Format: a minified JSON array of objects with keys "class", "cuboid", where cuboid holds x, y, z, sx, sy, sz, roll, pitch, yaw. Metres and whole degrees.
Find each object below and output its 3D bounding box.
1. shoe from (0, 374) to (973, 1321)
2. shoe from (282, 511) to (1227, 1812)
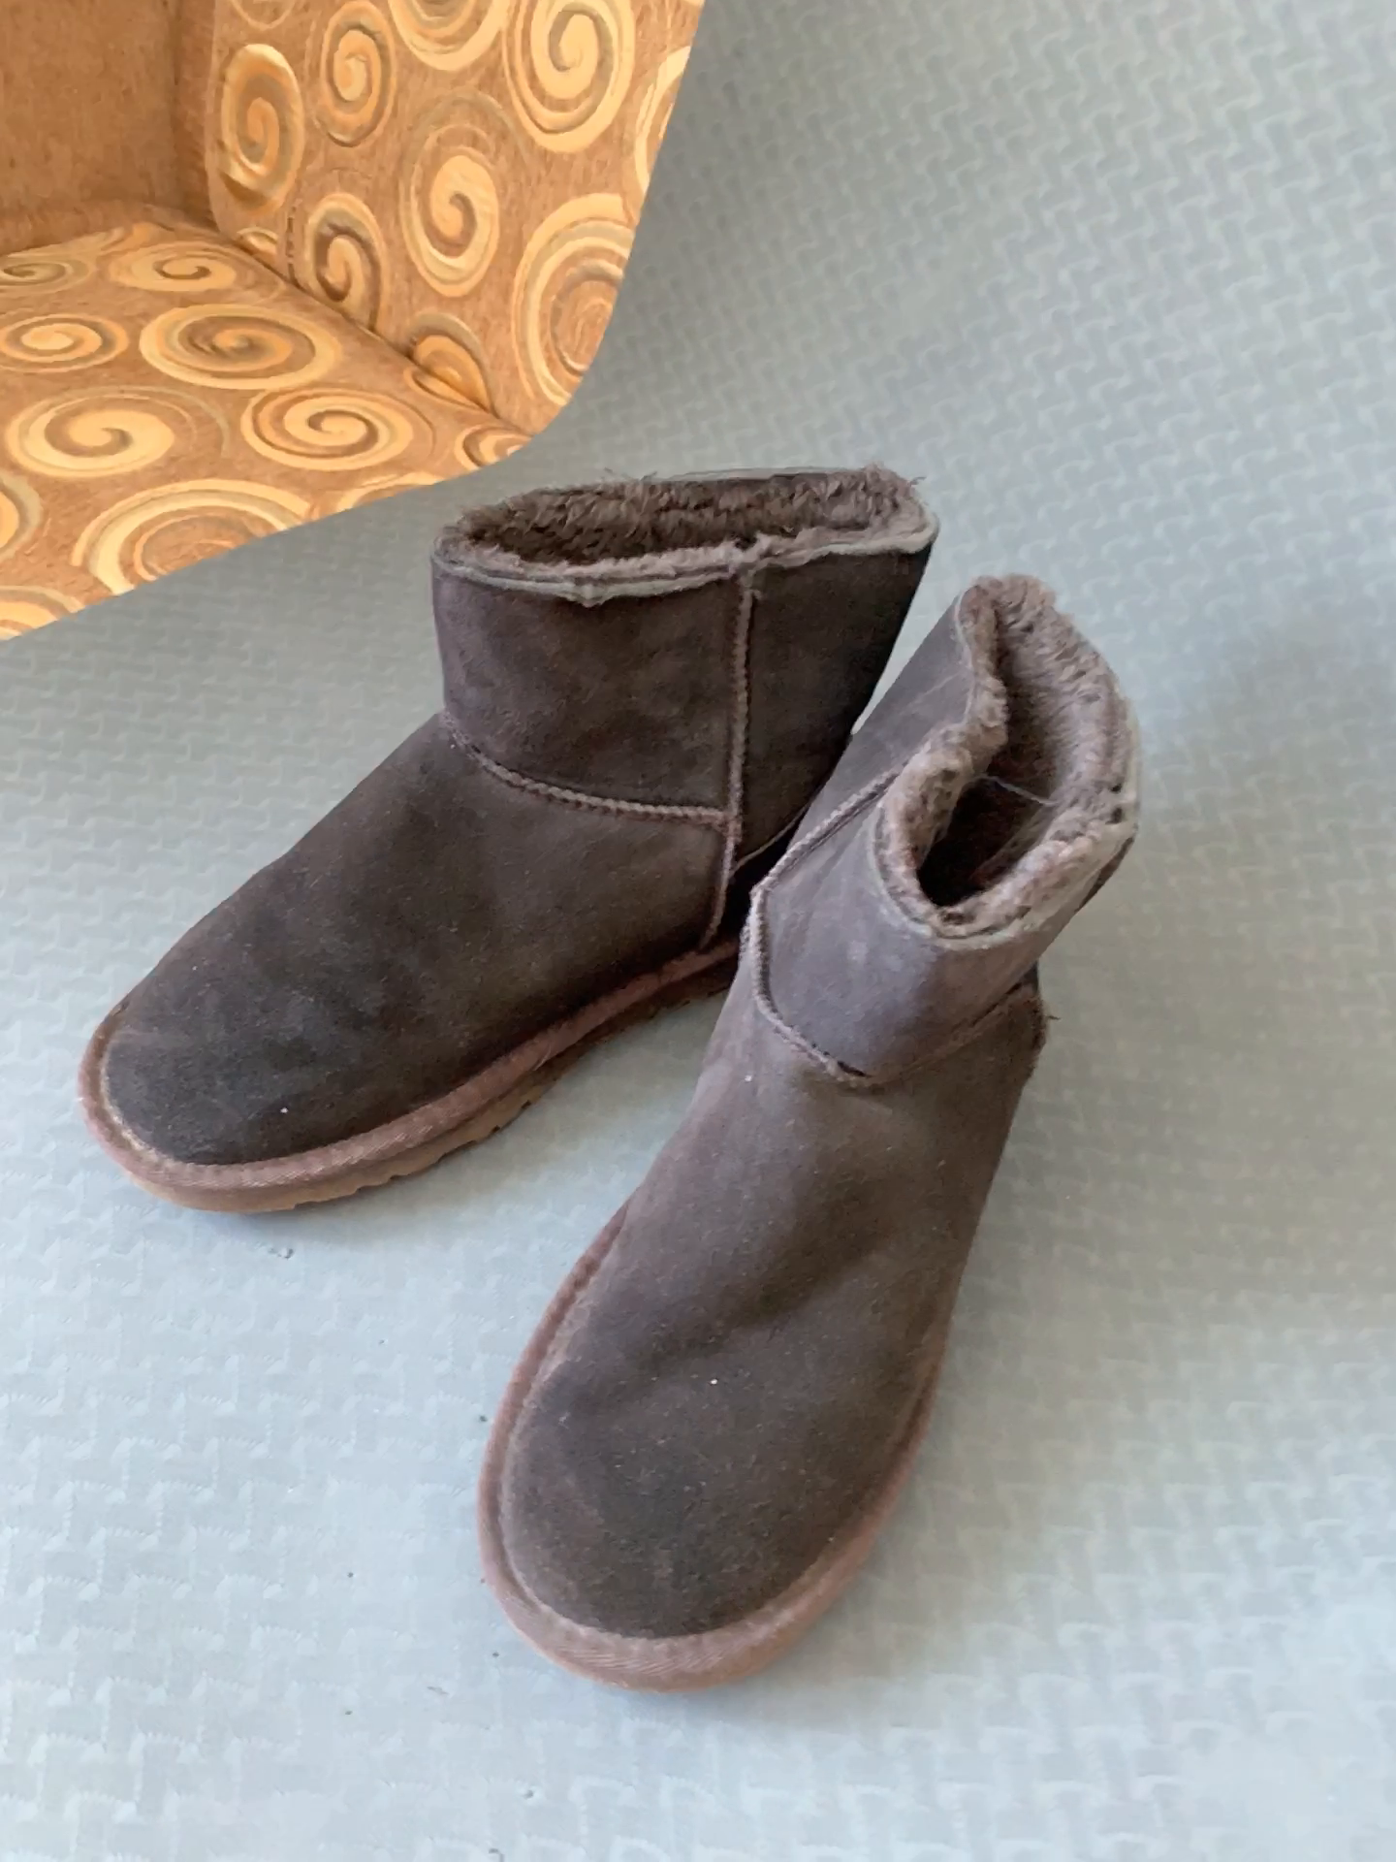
[{"class":"shoe","cuboid":[-0.064,-0.031,0.395,0.253,0.139,0.100,-29,59,-25]},{"class":"shoe","cuboid":[0.028,0.040,0.341,0.100,0.139,0.254,21,52,12]}]
